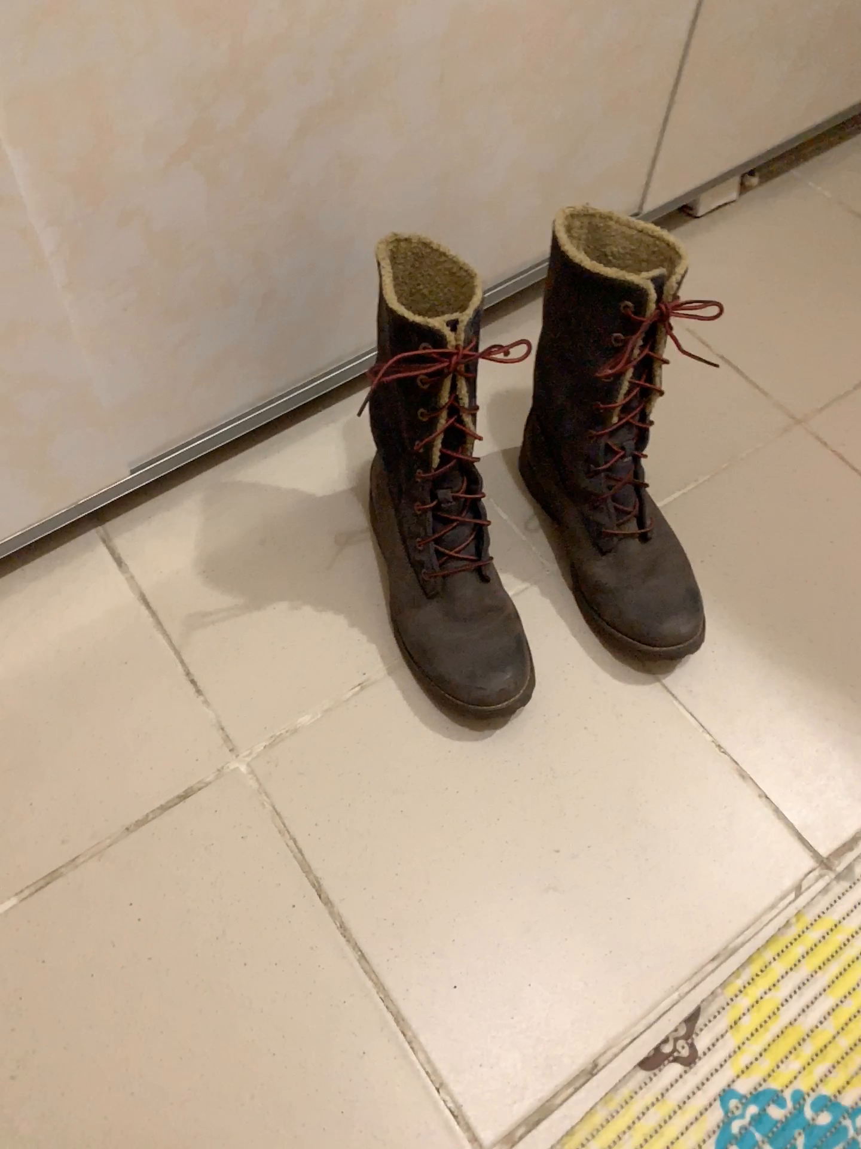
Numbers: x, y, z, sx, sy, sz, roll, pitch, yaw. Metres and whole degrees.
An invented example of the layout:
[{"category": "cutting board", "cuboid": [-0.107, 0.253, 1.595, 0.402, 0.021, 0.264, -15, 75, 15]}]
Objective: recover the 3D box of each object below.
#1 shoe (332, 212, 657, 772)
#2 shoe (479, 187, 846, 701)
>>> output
[{"category": "shoe", "cuboid": [0.014, -0.050, 0.609, 0.100, 0.249, 0.281, -11, 59, -14]}, {"category": "shoe", "cuboid": [0.143, -0.087, 0.669, 0.100, 0.249, 0.281, -19, 64, -9]}]
